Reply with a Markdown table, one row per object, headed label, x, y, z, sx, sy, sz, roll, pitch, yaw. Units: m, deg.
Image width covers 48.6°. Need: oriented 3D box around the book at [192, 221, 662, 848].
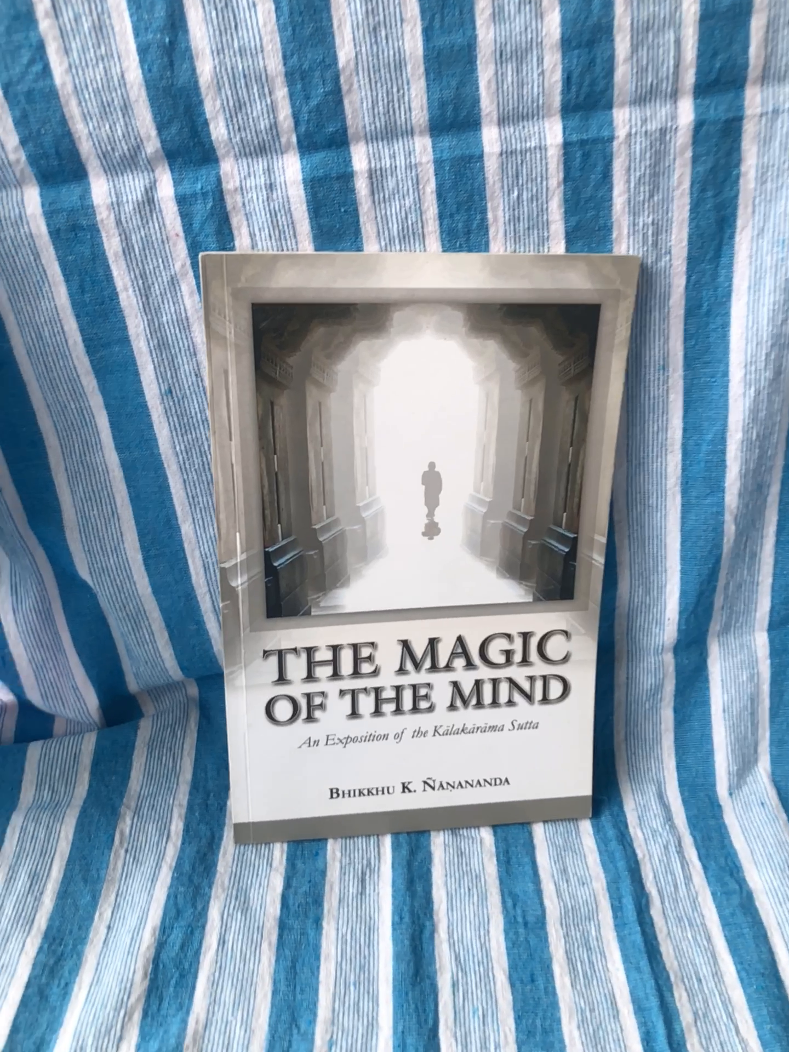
| label | x | y | z | sx | sy | sz | roll | pitch | yaw |
| --- | --- | --- | --- | --- | --- | --- | --- | --- | --- |
| book | 0.012 | 0.009 | 0.309 | 0.150 | 0.219 | 0.010 | -2 | 15 | -7 |
